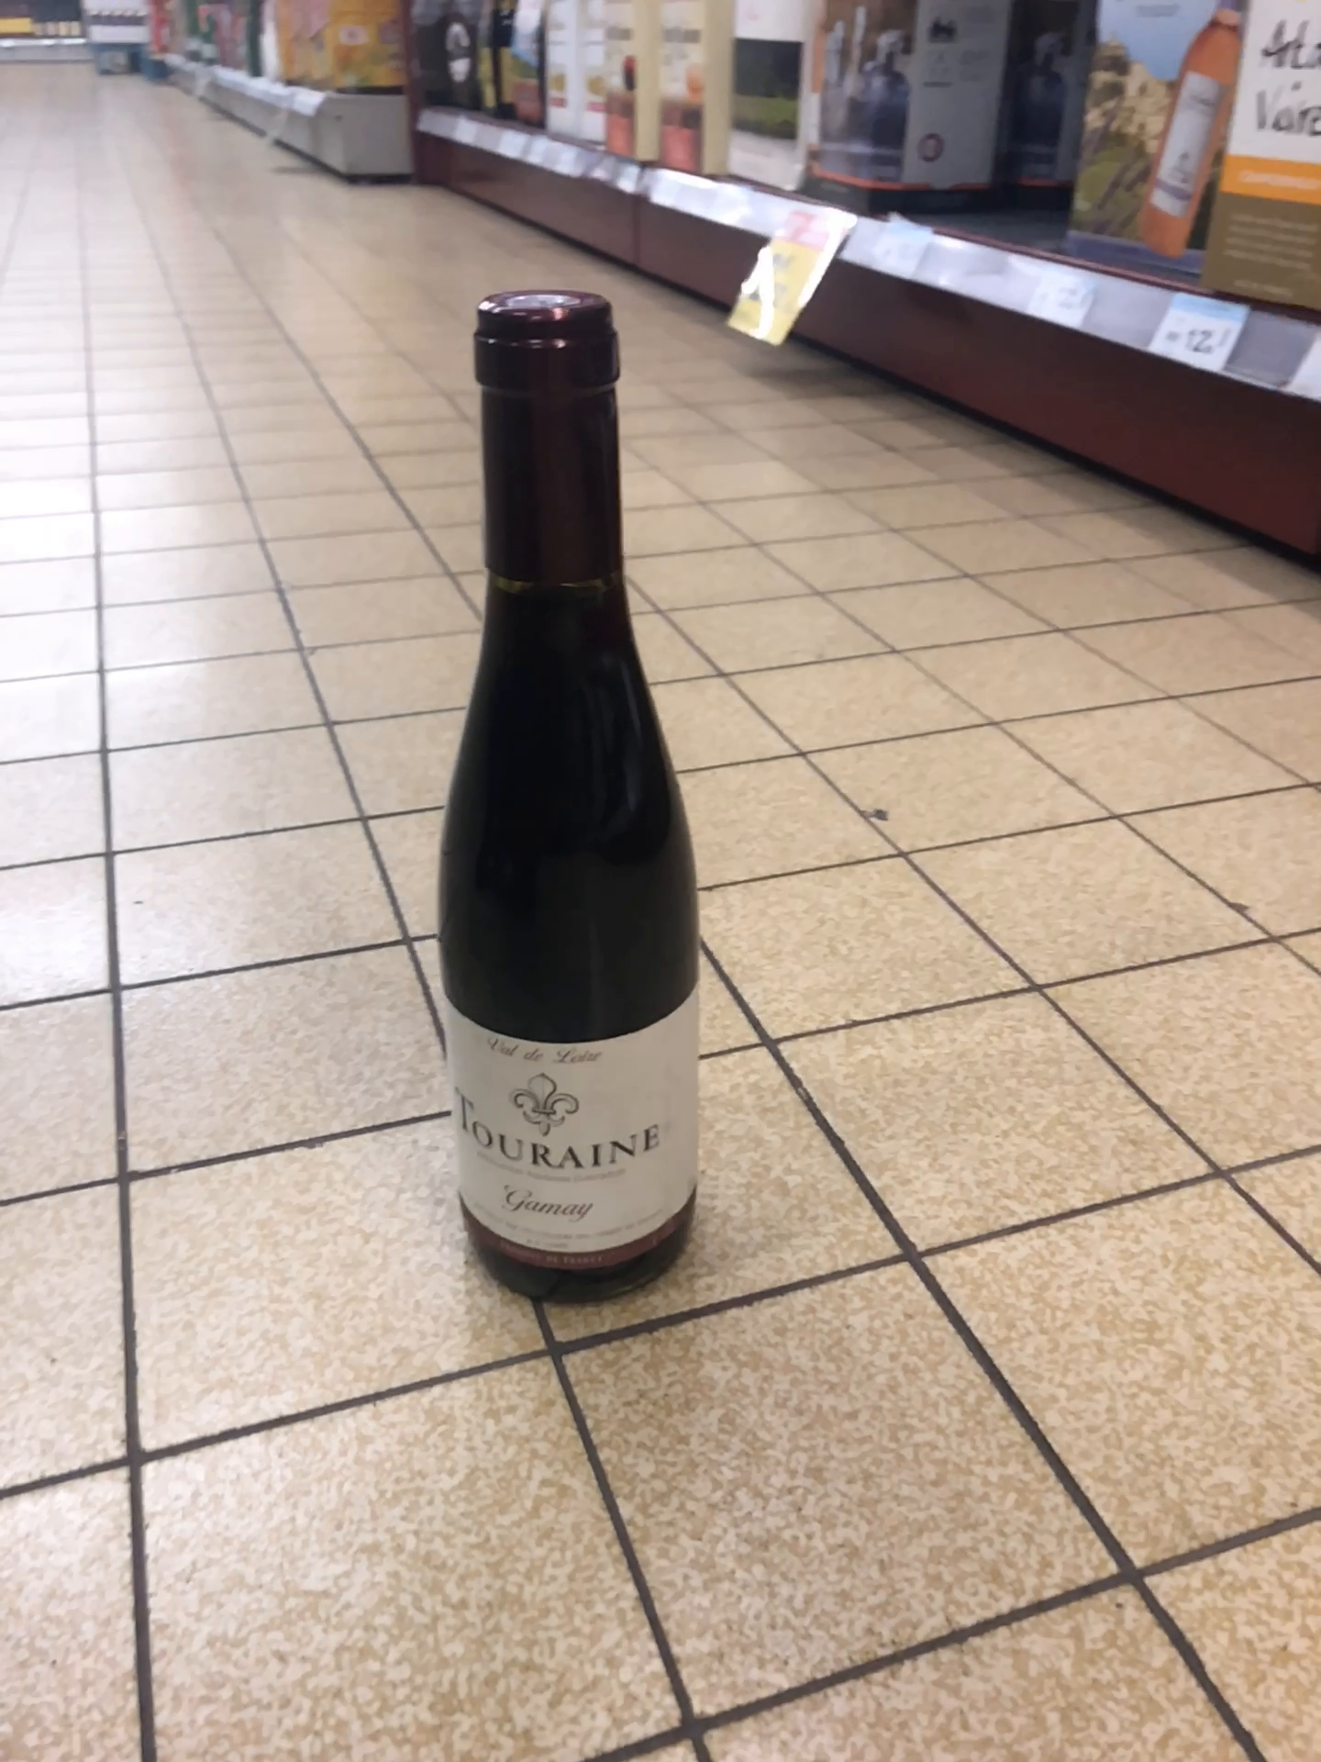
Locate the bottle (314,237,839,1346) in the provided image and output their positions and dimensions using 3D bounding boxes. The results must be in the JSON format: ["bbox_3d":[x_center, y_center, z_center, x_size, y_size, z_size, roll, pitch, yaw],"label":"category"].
[{"bbox_3d":[-0.014,-0.014,0.337,0.080,0.239,0.070,10,31,16],"label":"bottle"}]
